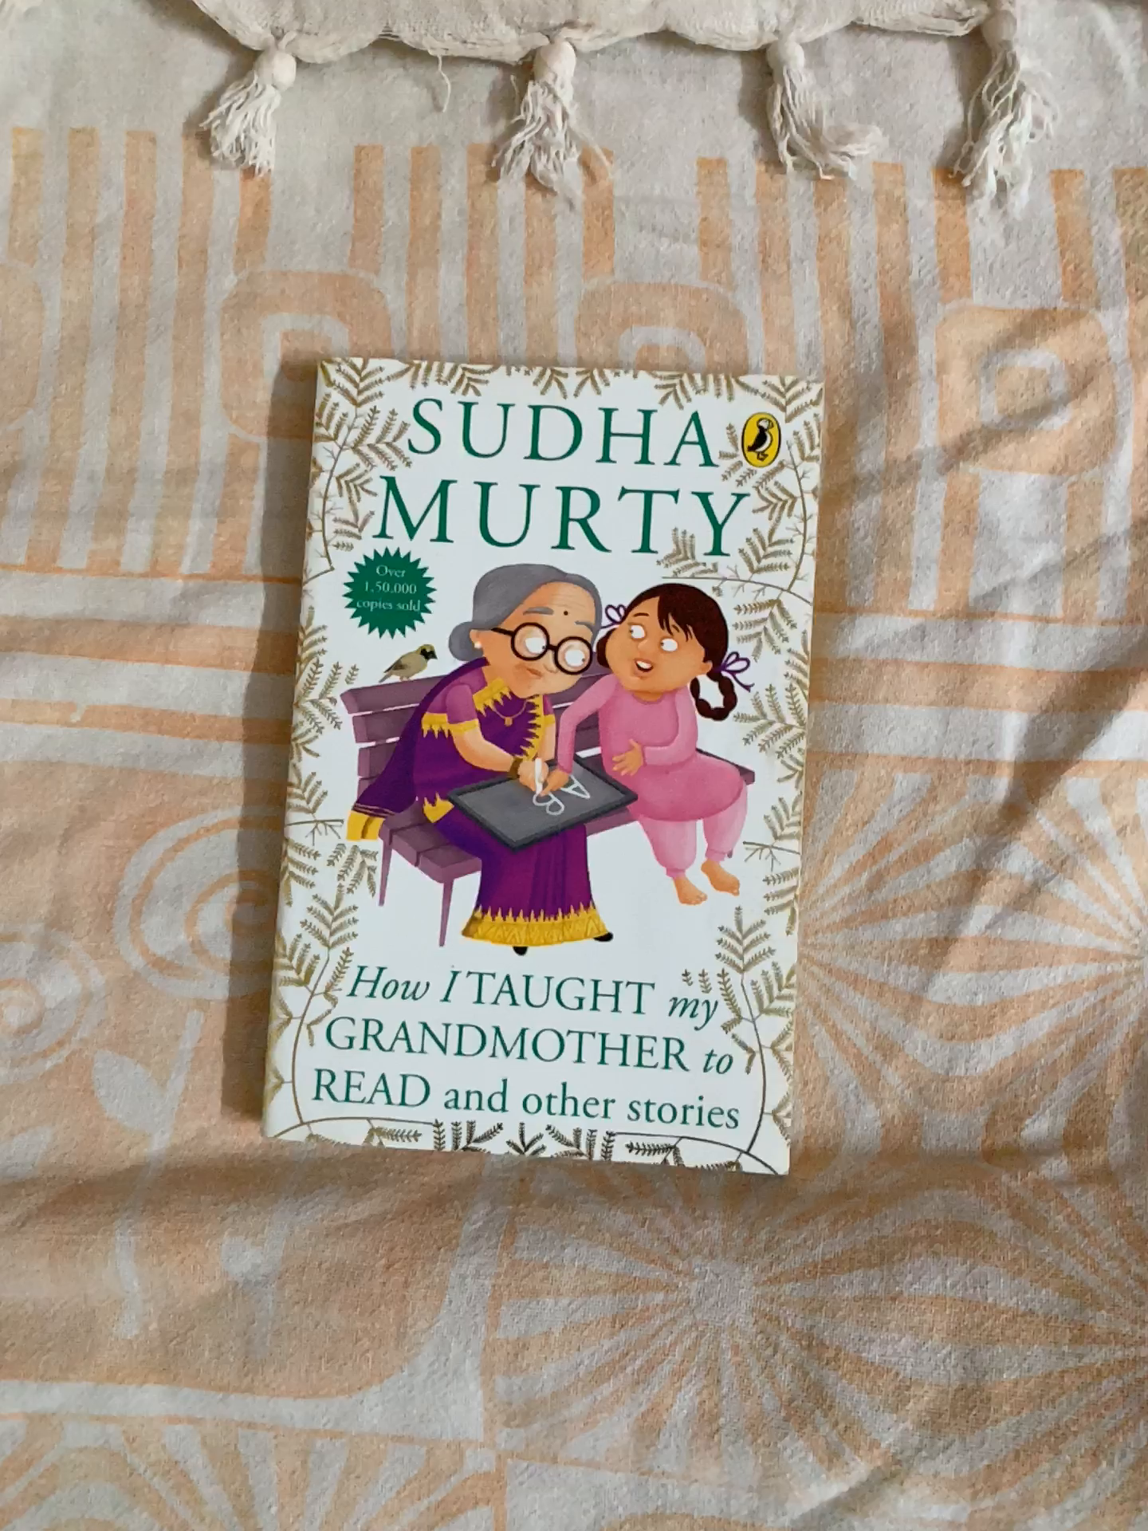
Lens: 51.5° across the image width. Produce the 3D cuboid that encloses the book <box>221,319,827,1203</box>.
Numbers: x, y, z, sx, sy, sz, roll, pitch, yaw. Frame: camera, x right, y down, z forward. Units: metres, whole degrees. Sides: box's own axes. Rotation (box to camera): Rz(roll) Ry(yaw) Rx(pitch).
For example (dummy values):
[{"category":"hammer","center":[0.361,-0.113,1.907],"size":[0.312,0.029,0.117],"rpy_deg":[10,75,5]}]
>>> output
[{"category":"book","center":[-0.009,-0.006,0.284],"size":[0.130,0.020,0.200],"rpy_deg":[2,83,3]}]
